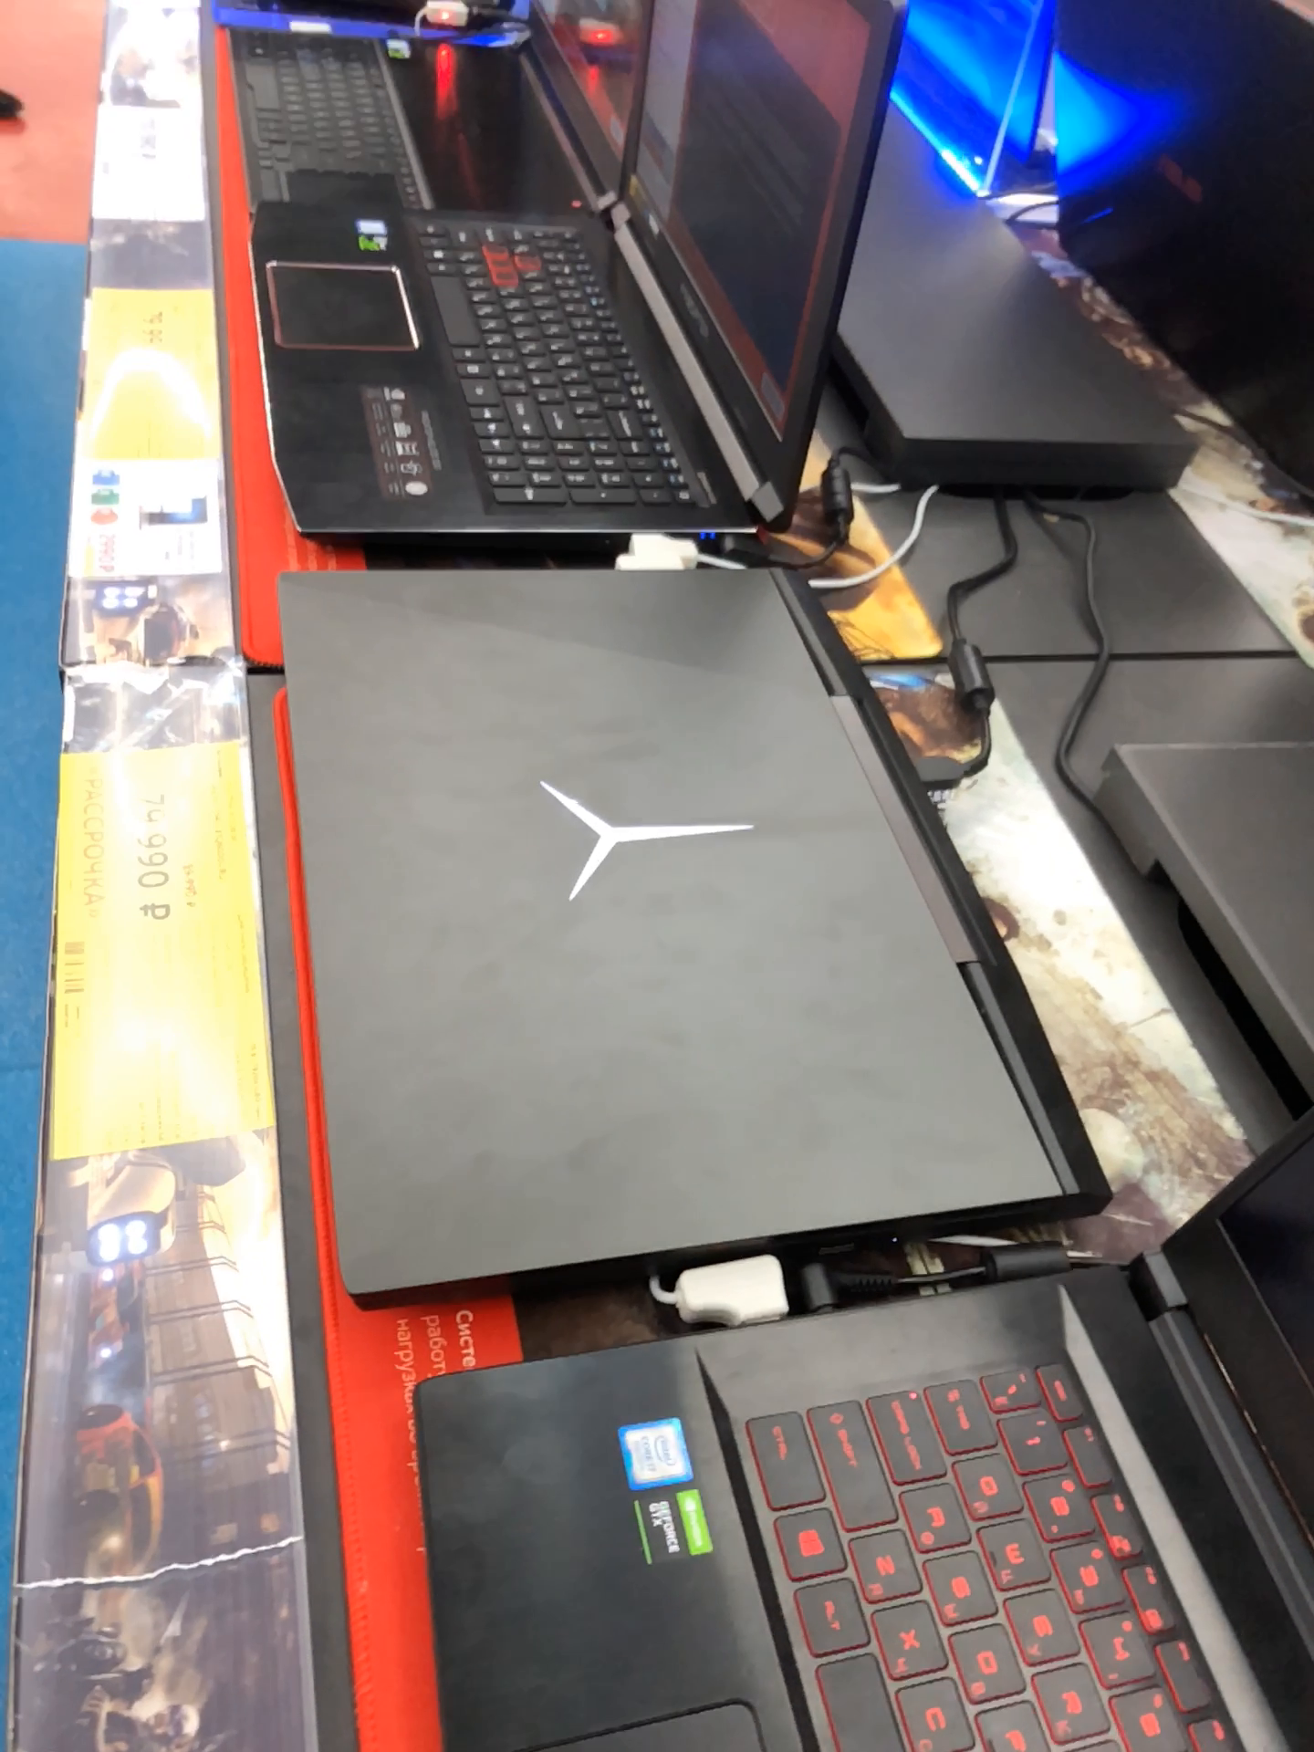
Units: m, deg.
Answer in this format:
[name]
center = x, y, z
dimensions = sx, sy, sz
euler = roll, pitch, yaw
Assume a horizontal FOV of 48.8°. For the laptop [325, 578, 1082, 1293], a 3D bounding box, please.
[laptop]
center = -0.004, -0.011, 0.575
dimensions = 0.227, 0.007, 0.345
euler = -4, 47, -15
